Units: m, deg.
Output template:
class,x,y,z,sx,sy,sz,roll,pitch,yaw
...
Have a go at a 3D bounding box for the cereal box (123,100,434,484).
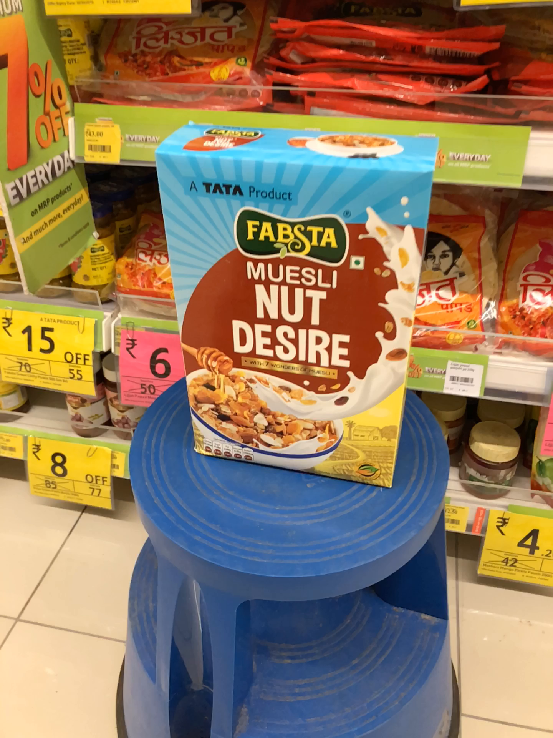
class,x,y,z,sx,sy,sz,roll,pitch,yaw
cereal box,0.006,-0.045,0.430,0.170,0.248,0.071,7,37,11
